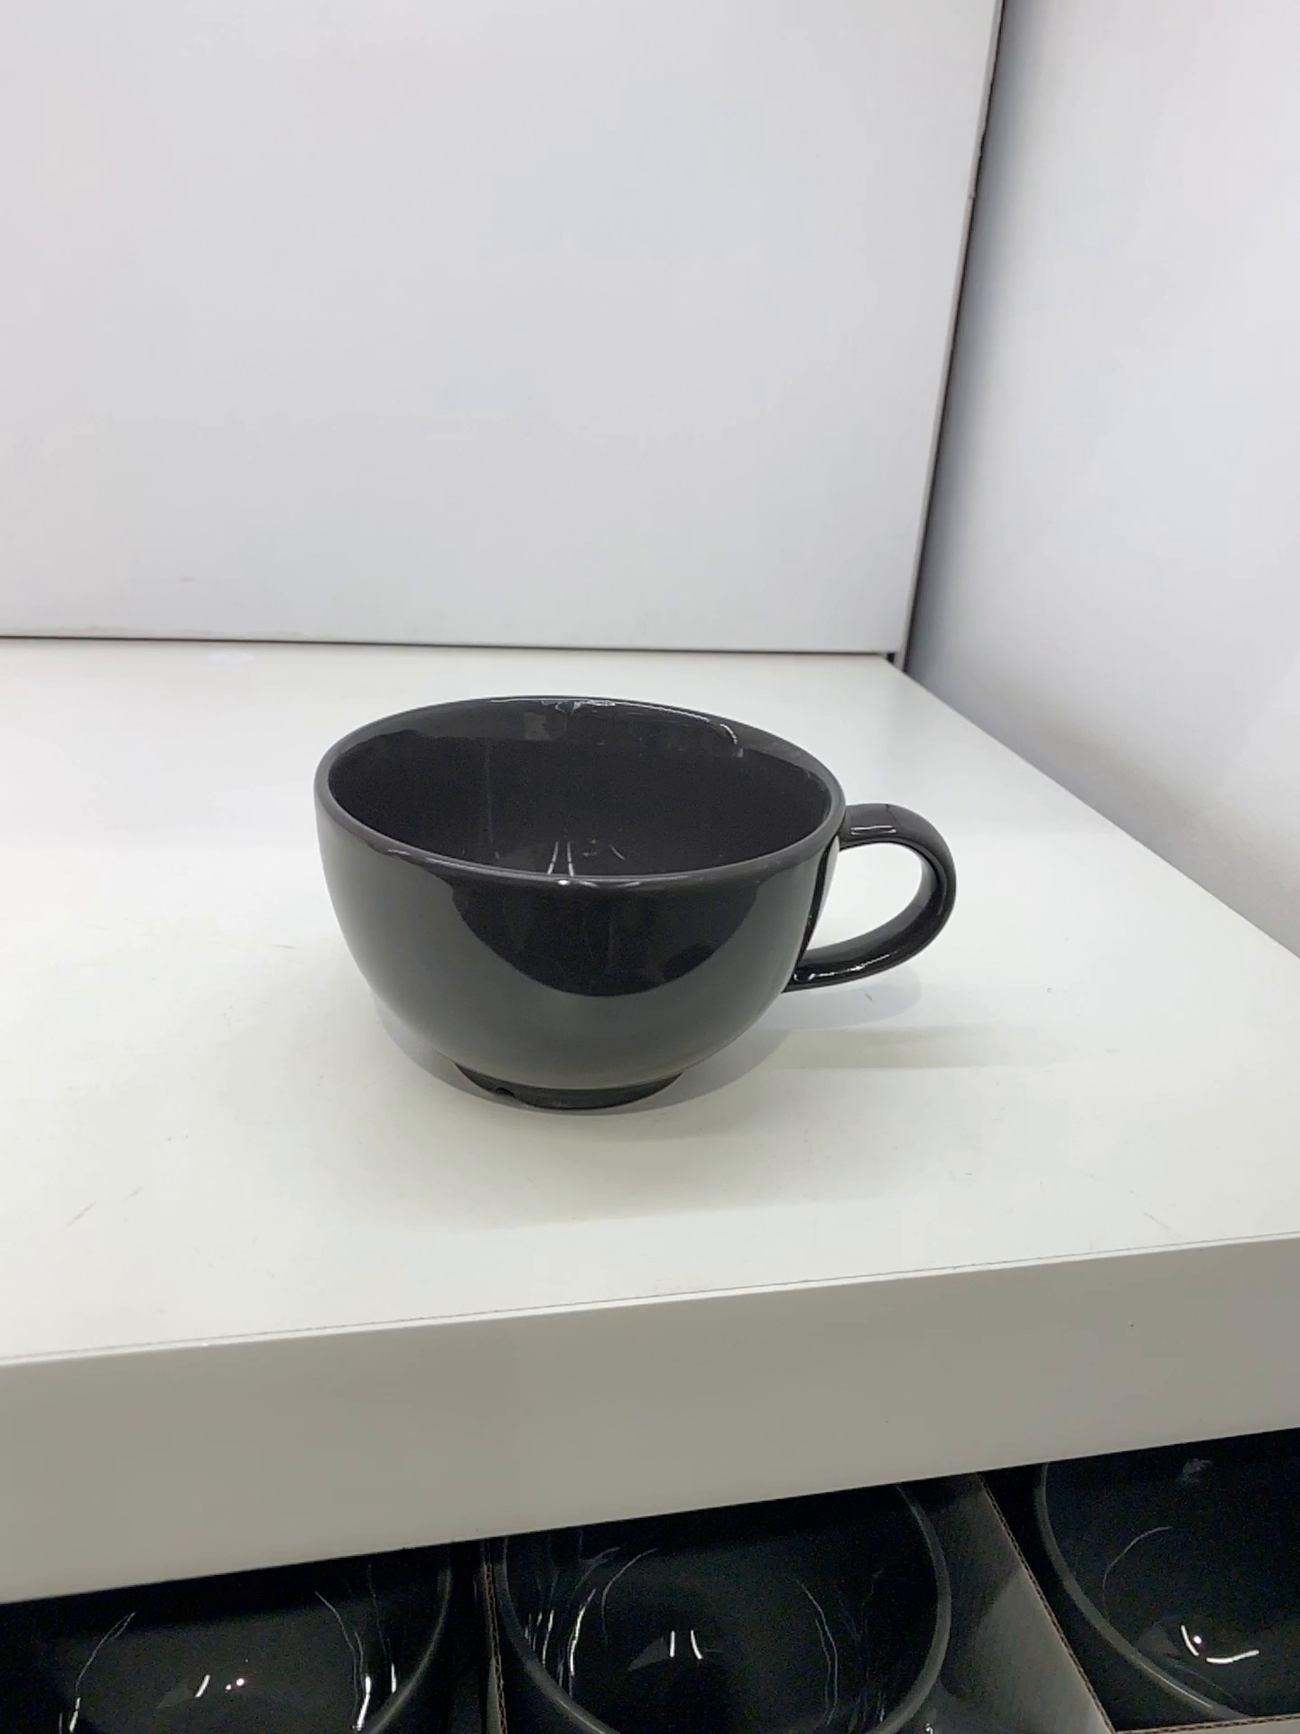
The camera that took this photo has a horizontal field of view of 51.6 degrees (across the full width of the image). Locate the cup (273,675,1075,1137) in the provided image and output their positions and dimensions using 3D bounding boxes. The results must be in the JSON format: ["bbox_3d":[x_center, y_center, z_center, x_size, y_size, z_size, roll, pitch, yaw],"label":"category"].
[{"bbox_3d":[-0.002,0.002,0.275,0.130,0.050,0.110,1,23,-8],"label":"cup"}]
